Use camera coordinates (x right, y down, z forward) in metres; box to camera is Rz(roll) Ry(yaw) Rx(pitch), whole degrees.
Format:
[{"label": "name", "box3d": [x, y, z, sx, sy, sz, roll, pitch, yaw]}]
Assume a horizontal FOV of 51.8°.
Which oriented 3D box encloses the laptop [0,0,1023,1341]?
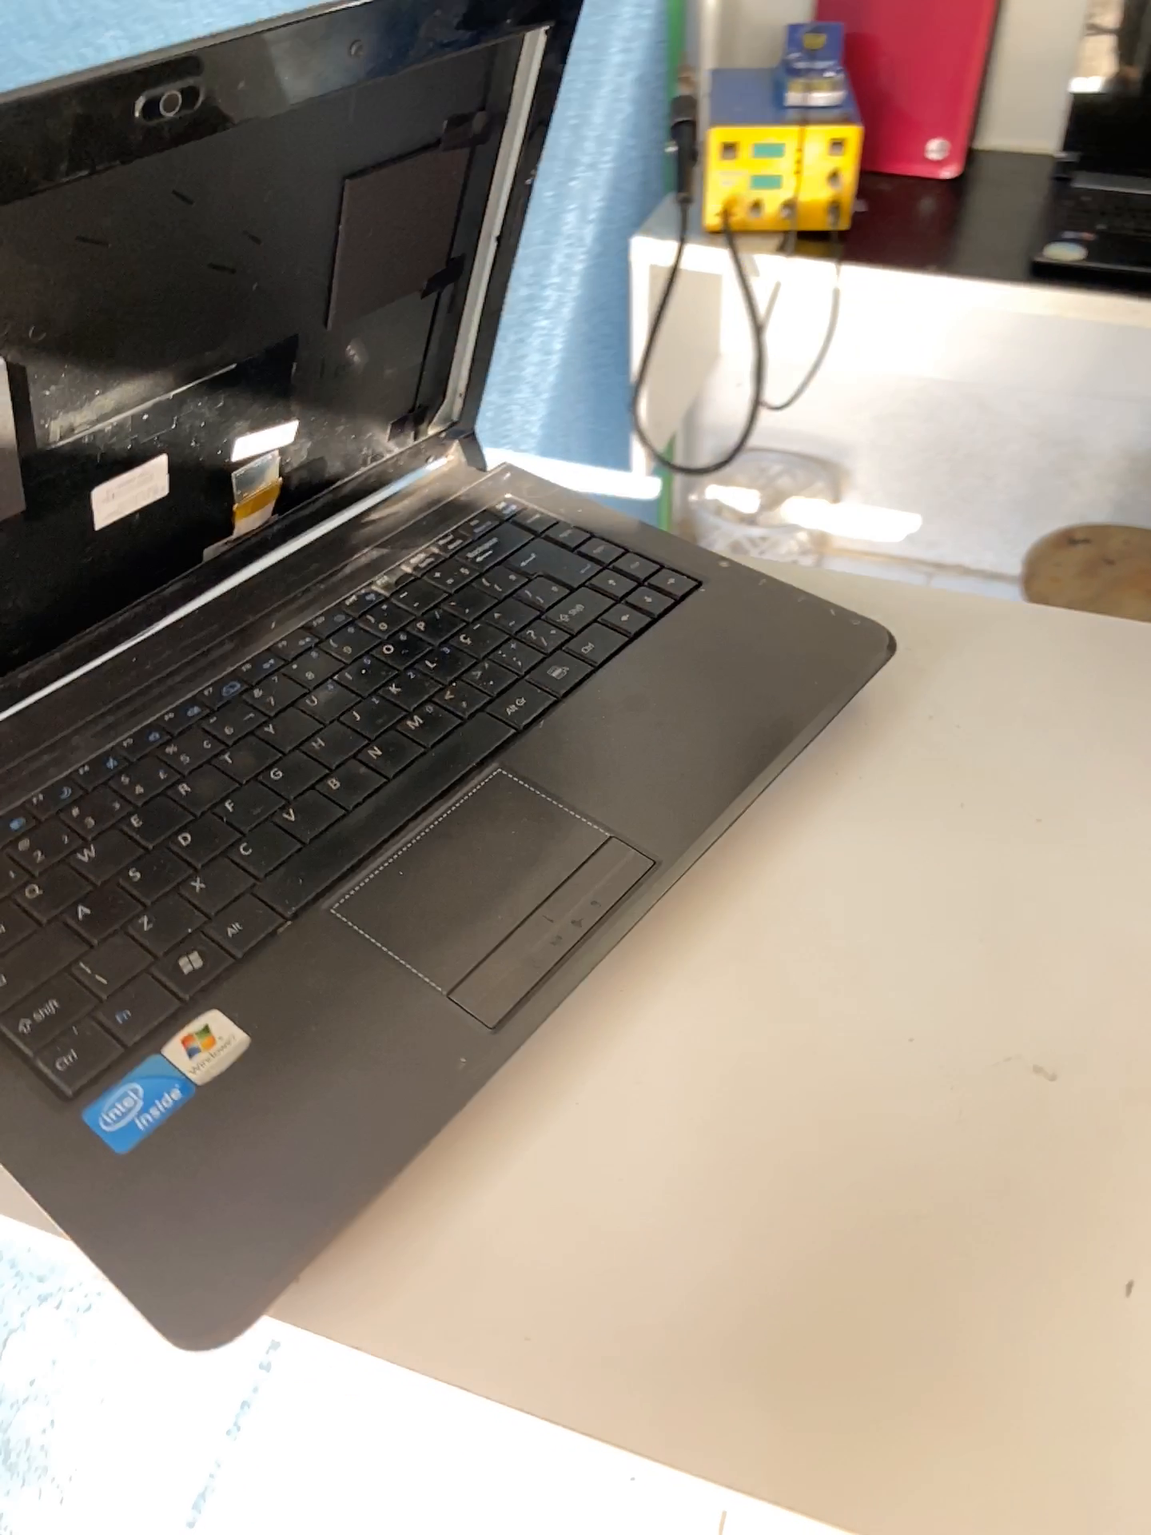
[{"label": "laptop", "box3d": [-0.061, -0.077, 0.344, 0.206, 0.206, 0.332, 29, 52, 28]}]
